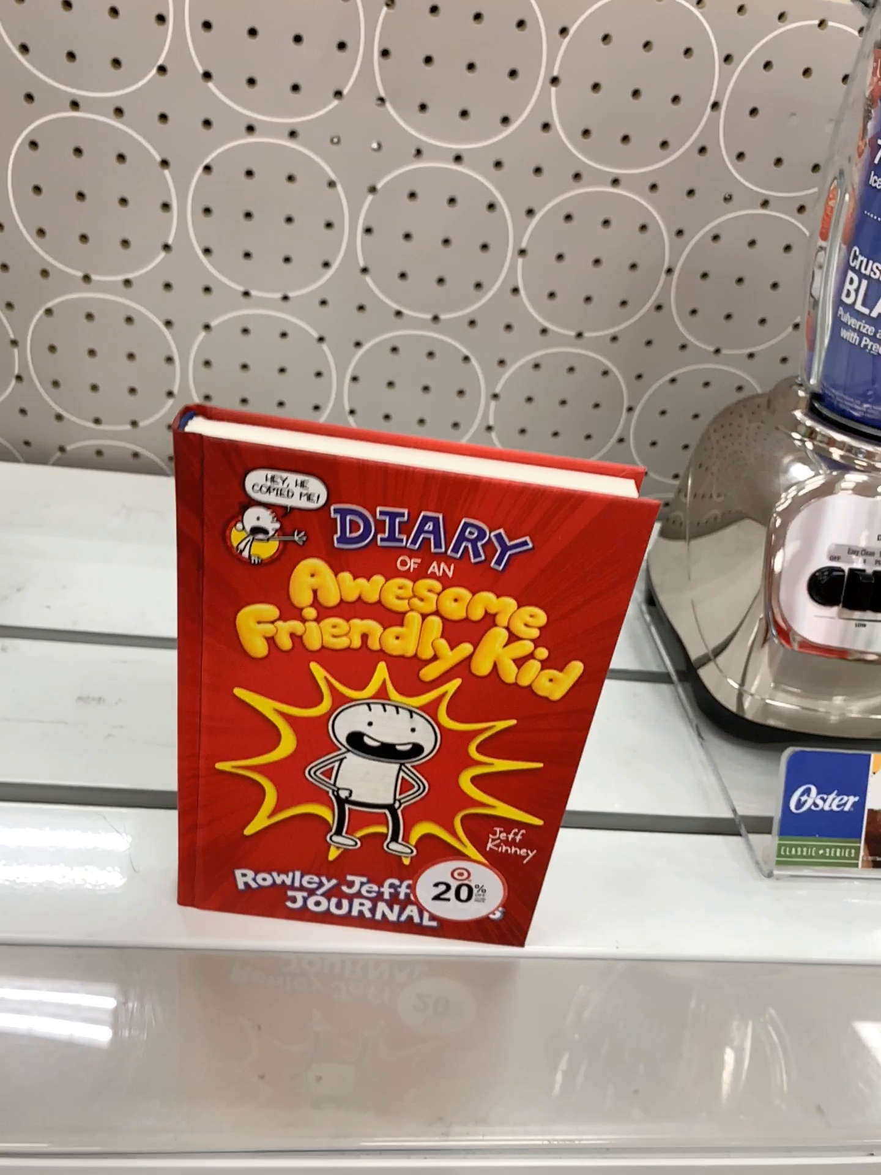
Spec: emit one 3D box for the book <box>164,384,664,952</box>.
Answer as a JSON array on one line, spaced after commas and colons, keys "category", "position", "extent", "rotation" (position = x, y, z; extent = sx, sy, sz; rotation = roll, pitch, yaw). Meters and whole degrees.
[{"category": "book", "position": [-0.021, 0.043, 0.322], "extent": [0.140, 0.209, 0.030], "rotation": [7, 32, -4]}]
